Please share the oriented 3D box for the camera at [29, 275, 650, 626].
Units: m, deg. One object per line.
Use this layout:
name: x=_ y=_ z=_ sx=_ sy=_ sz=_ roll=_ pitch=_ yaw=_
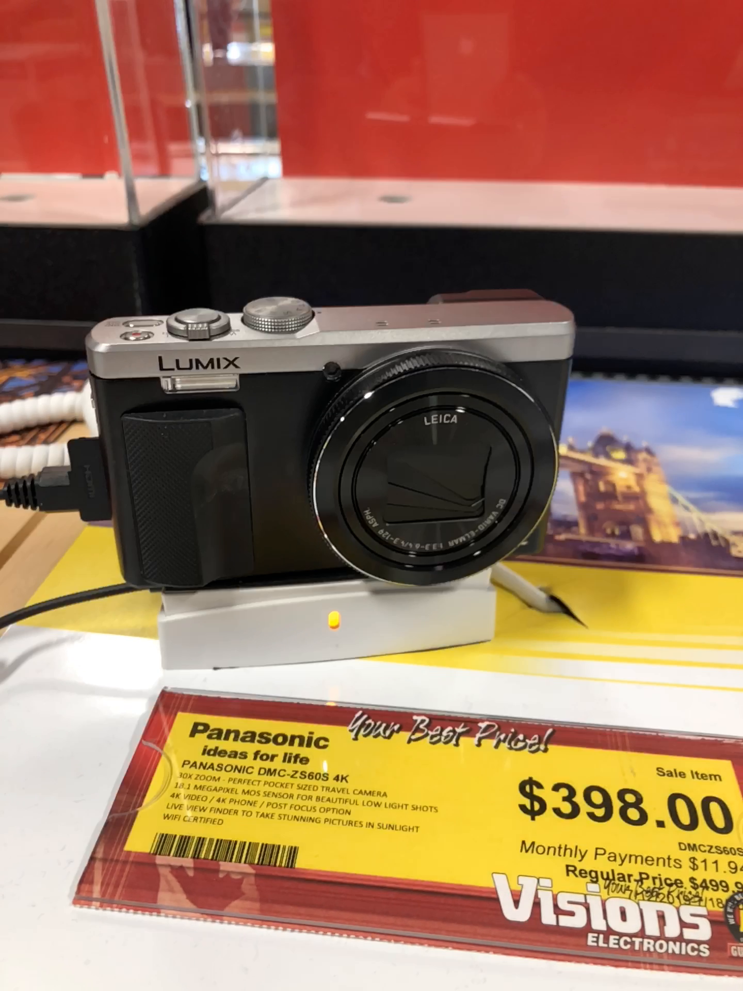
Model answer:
camera: x=-0.006 y=-0.013 z=0.192 sx=0.120 sy=0.060 sz=0.040 roll=-5 pitch=30 yaw=-7
